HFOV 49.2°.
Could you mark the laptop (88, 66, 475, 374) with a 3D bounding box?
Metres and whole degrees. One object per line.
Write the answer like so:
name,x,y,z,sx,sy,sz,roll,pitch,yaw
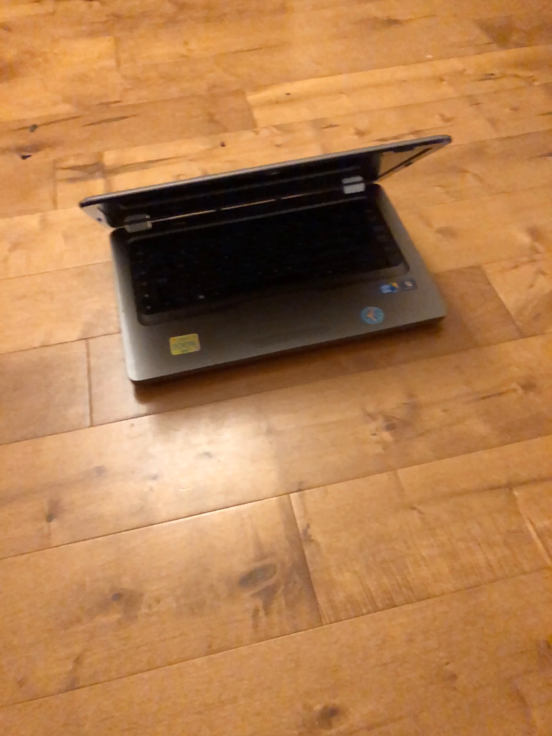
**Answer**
laptop,-0.005,-0.169,0.666,0.346,0.164,0.224,-12,55,-8
